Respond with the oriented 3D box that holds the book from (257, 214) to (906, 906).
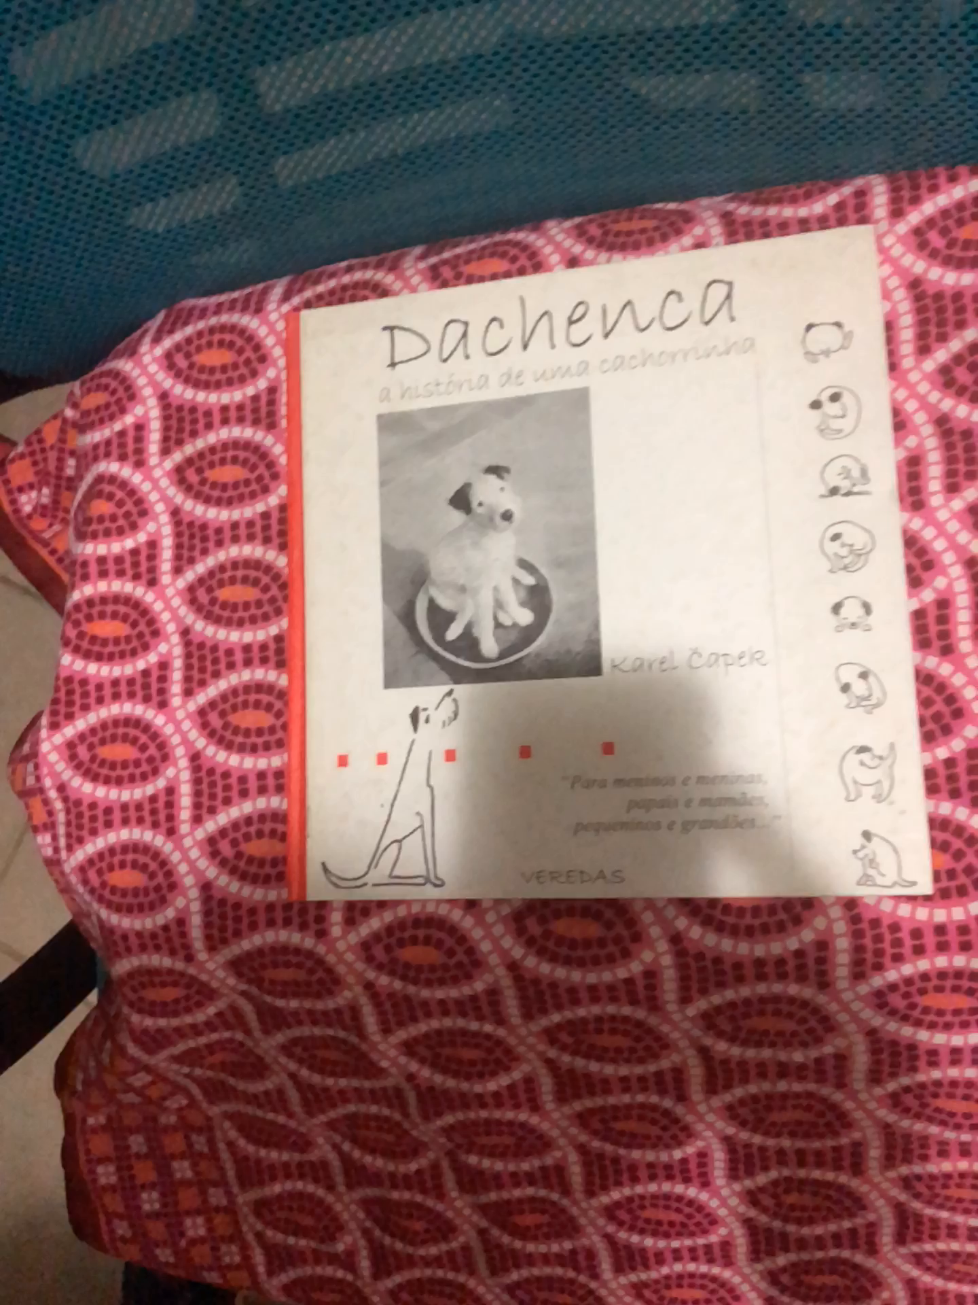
[{"bbox_3d":[0.022,-0.026,0.369,0.205,0.027,0.216,-4,80,14],"label":"book"}]
